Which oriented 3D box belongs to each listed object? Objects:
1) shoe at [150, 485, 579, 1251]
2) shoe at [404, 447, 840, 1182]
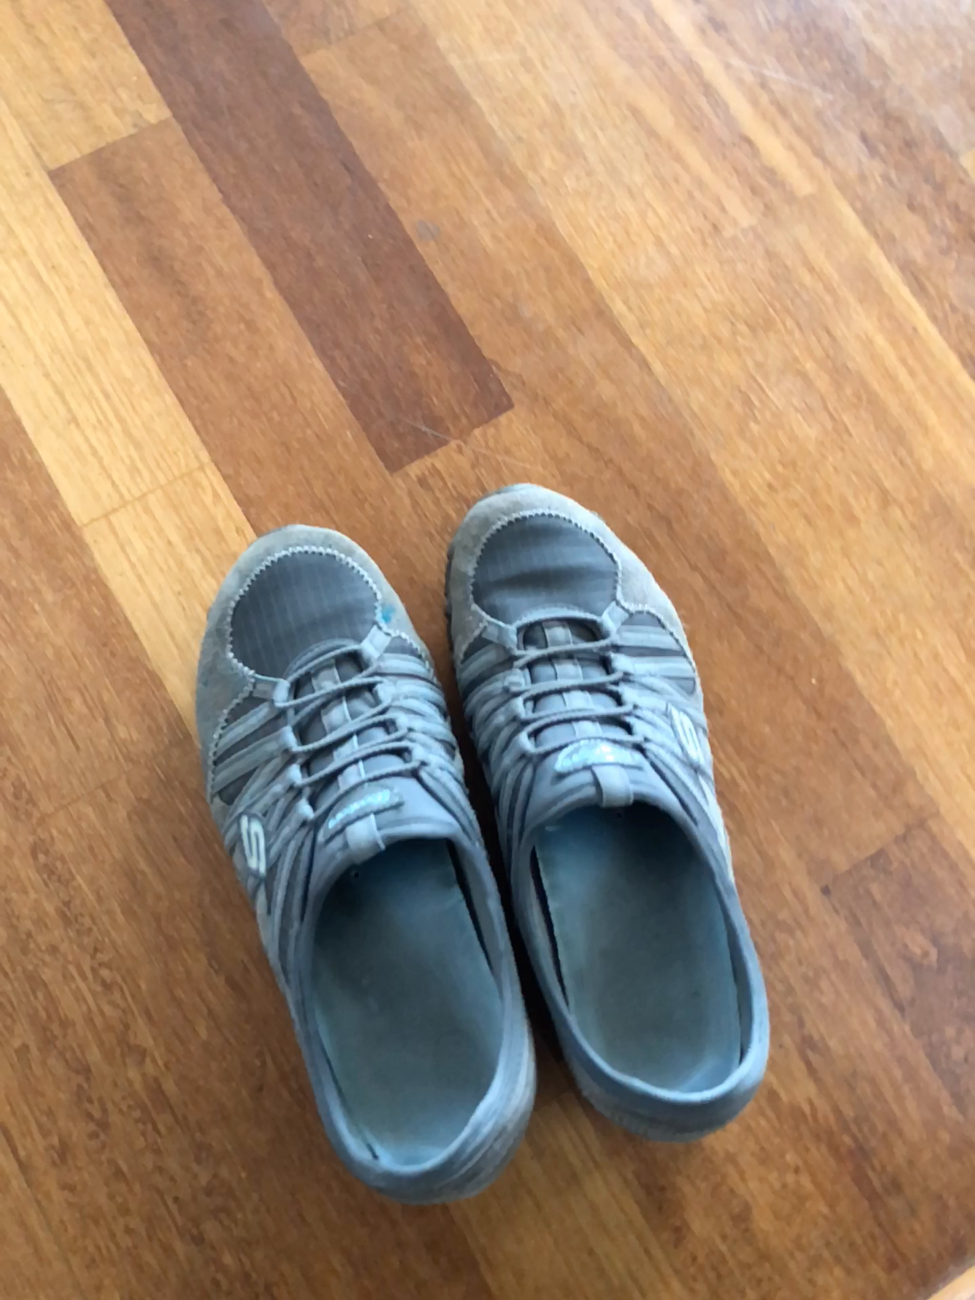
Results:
[{"bbox_3d":[-0.051,0.078,0.435,0.096,0.106,0.253,-14,80,-7],"label":"shoe"},{"bbox_3d":[0.042,0.061,0.440,0.093,0.106,0.250,-14,80,-7],"label":"shoe"}]
